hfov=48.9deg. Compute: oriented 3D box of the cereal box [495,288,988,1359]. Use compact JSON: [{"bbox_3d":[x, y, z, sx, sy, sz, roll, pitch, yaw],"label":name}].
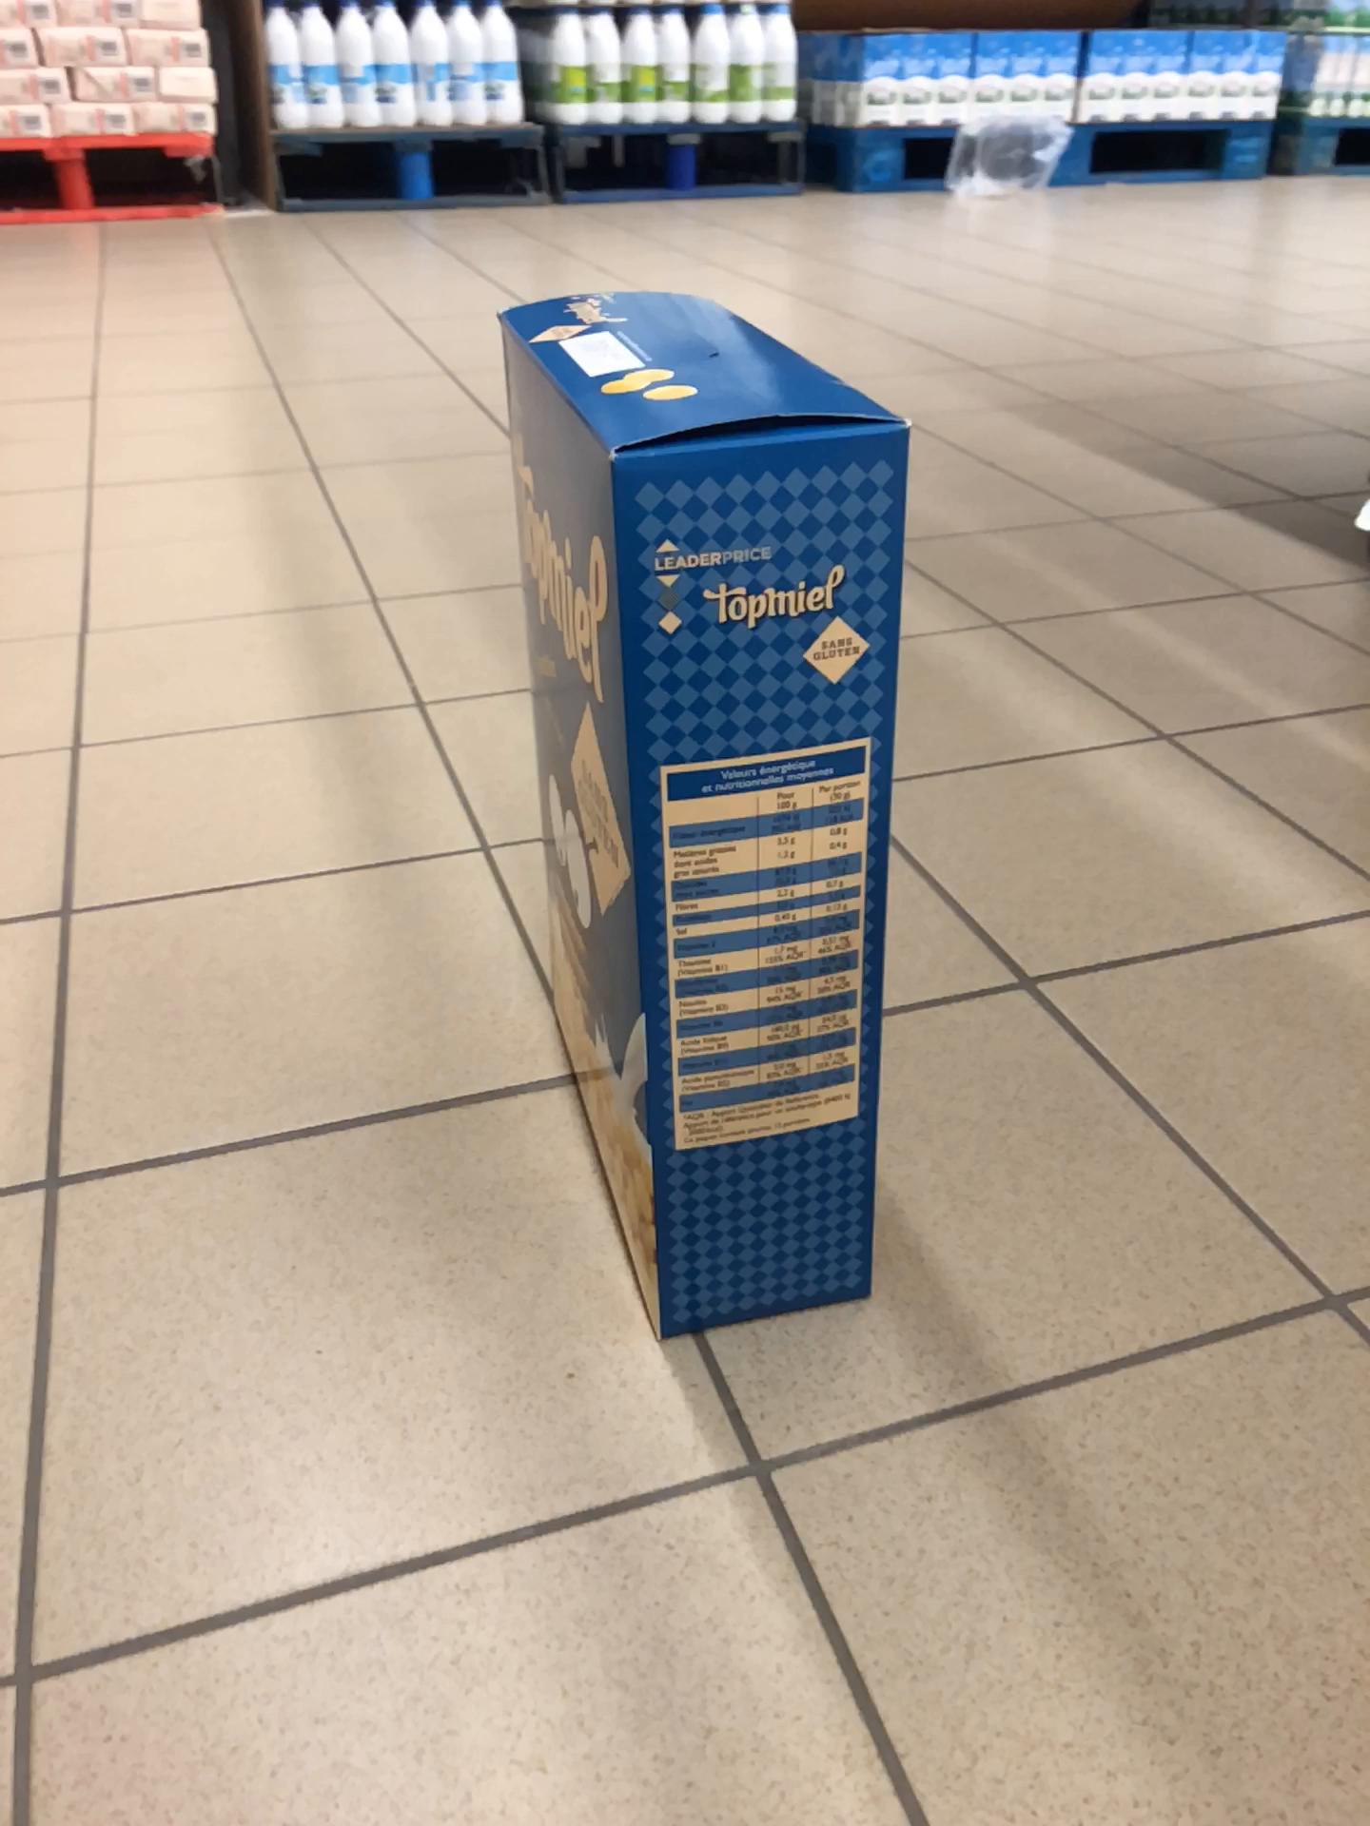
[{"bbox_3d":[0.004,-0.038,0.487,0.080,0.278,0.201,-8,30,-14],"label":"cereal box"}]
